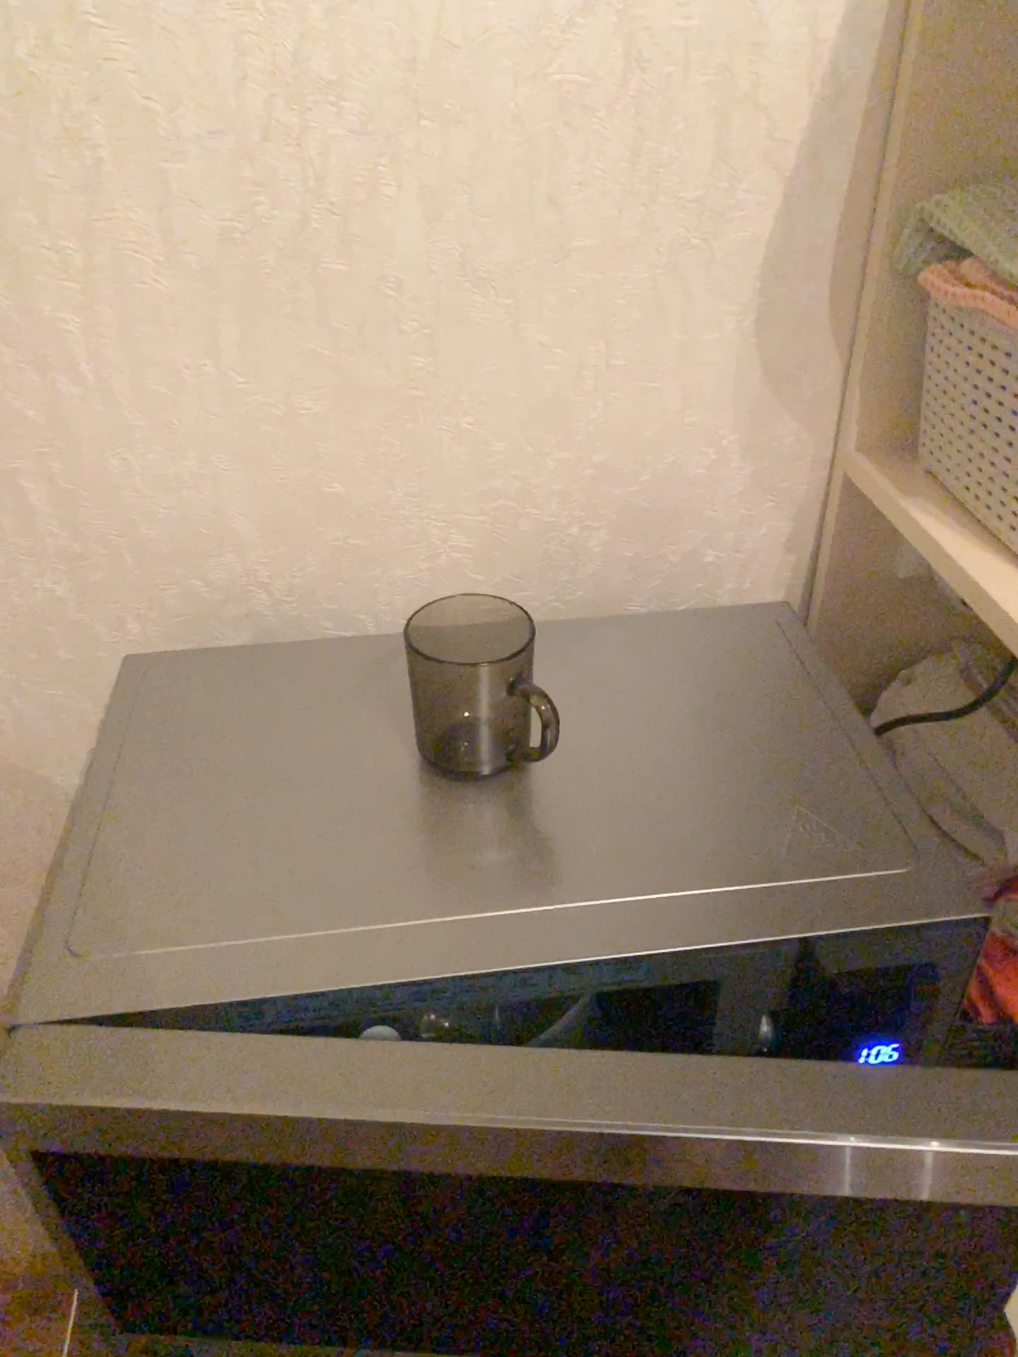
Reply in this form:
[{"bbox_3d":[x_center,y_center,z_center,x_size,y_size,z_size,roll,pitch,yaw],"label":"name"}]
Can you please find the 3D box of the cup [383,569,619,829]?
[{"bbox_3d":[-0.003,0.009,0.586,0.102,0.094,0.078,20,41,28],"label":"cup"}]
